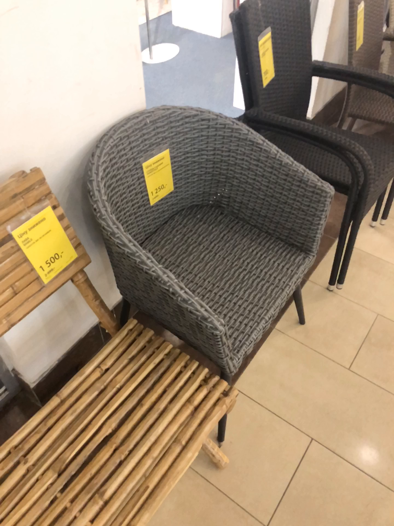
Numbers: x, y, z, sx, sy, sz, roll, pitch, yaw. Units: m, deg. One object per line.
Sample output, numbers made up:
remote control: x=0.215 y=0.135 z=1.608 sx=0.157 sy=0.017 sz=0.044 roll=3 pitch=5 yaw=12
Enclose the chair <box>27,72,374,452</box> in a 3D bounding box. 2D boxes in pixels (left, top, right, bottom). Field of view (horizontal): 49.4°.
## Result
chair: x=0.030 y=0.003 z=1.201 sx=0.520 sy=0.737 sz=0.572 roll=27 pitch=53 yaw=23
